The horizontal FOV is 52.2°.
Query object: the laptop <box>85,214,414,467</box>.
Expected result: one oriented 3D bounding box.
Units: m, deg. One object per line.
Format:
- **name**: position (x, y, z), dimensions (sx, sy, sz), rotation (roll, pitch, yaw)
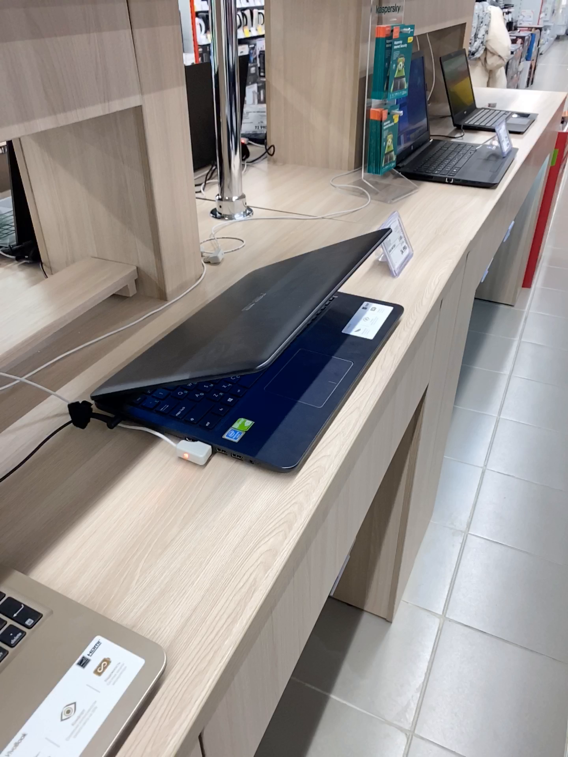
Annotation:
- **laptop**: position (-0.011, -0.082, 0.718), dimensions (0.235, 0.098, 0.387), rotation (16, 36, 21)
